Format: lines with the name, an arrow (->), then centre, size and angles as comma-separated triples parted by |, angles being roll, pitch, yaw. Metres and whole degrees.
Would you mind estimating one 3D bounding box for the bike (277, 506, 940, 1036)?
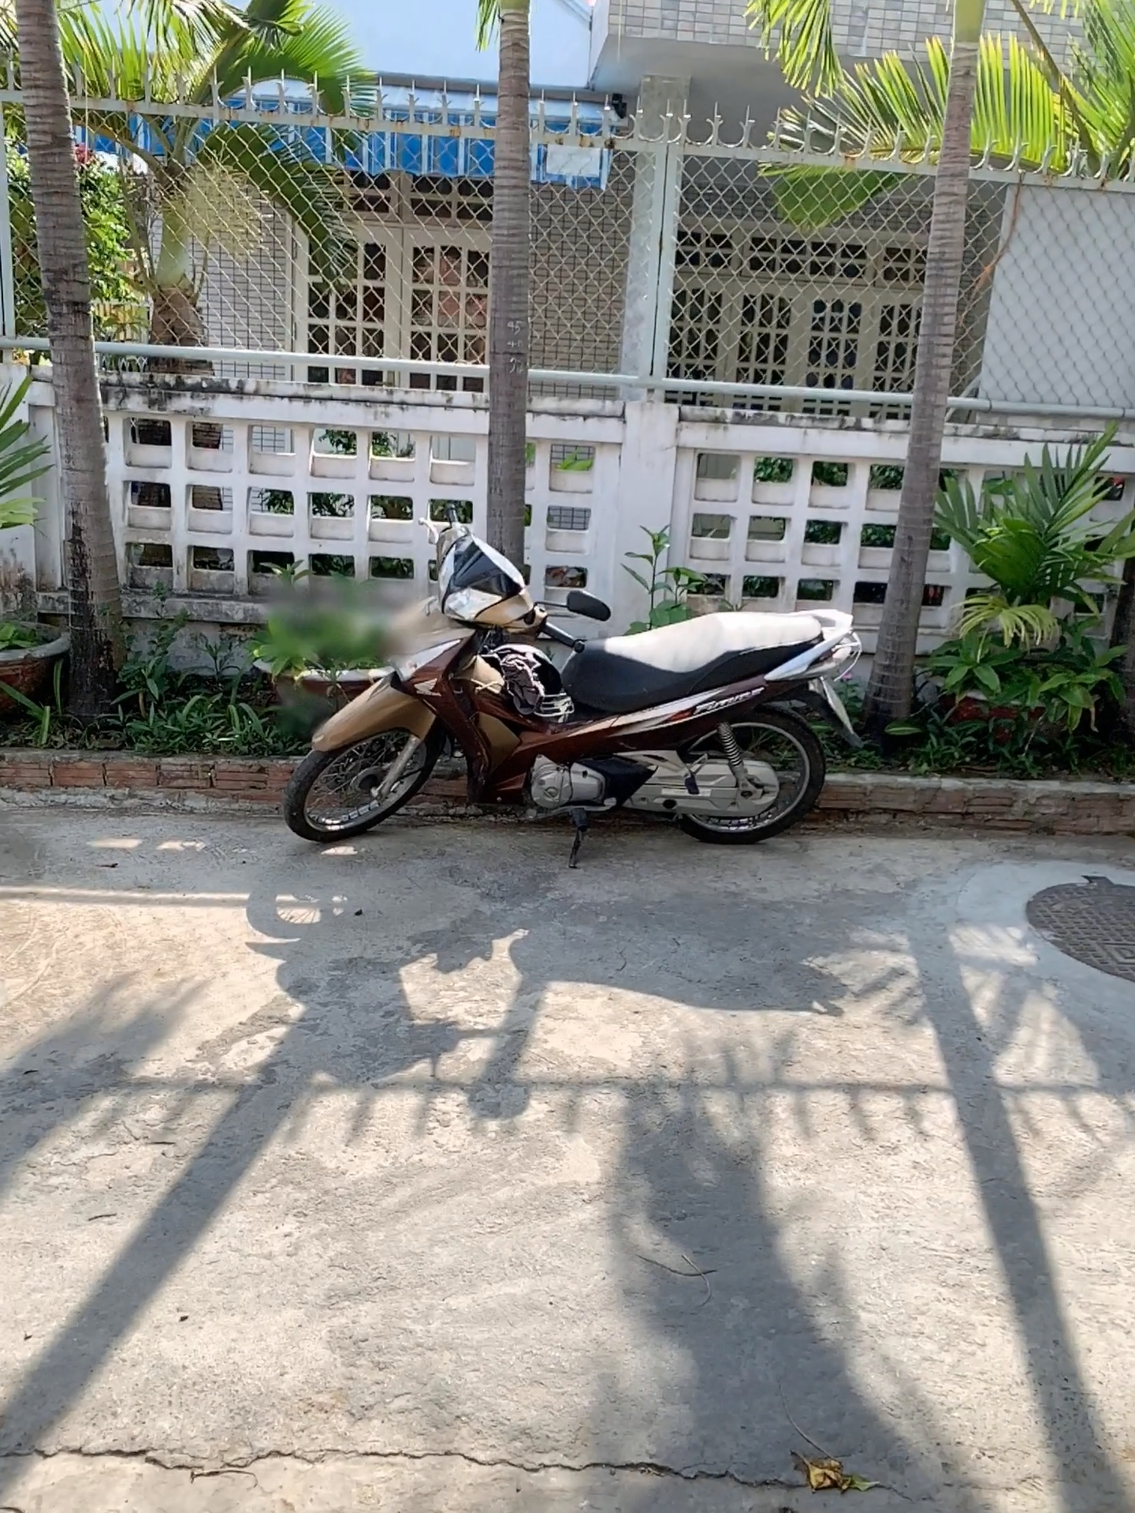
bike -> 0.105, -0.017, 3.729 | 1.975, 1.443, 0.614 | -2, 16, -17
